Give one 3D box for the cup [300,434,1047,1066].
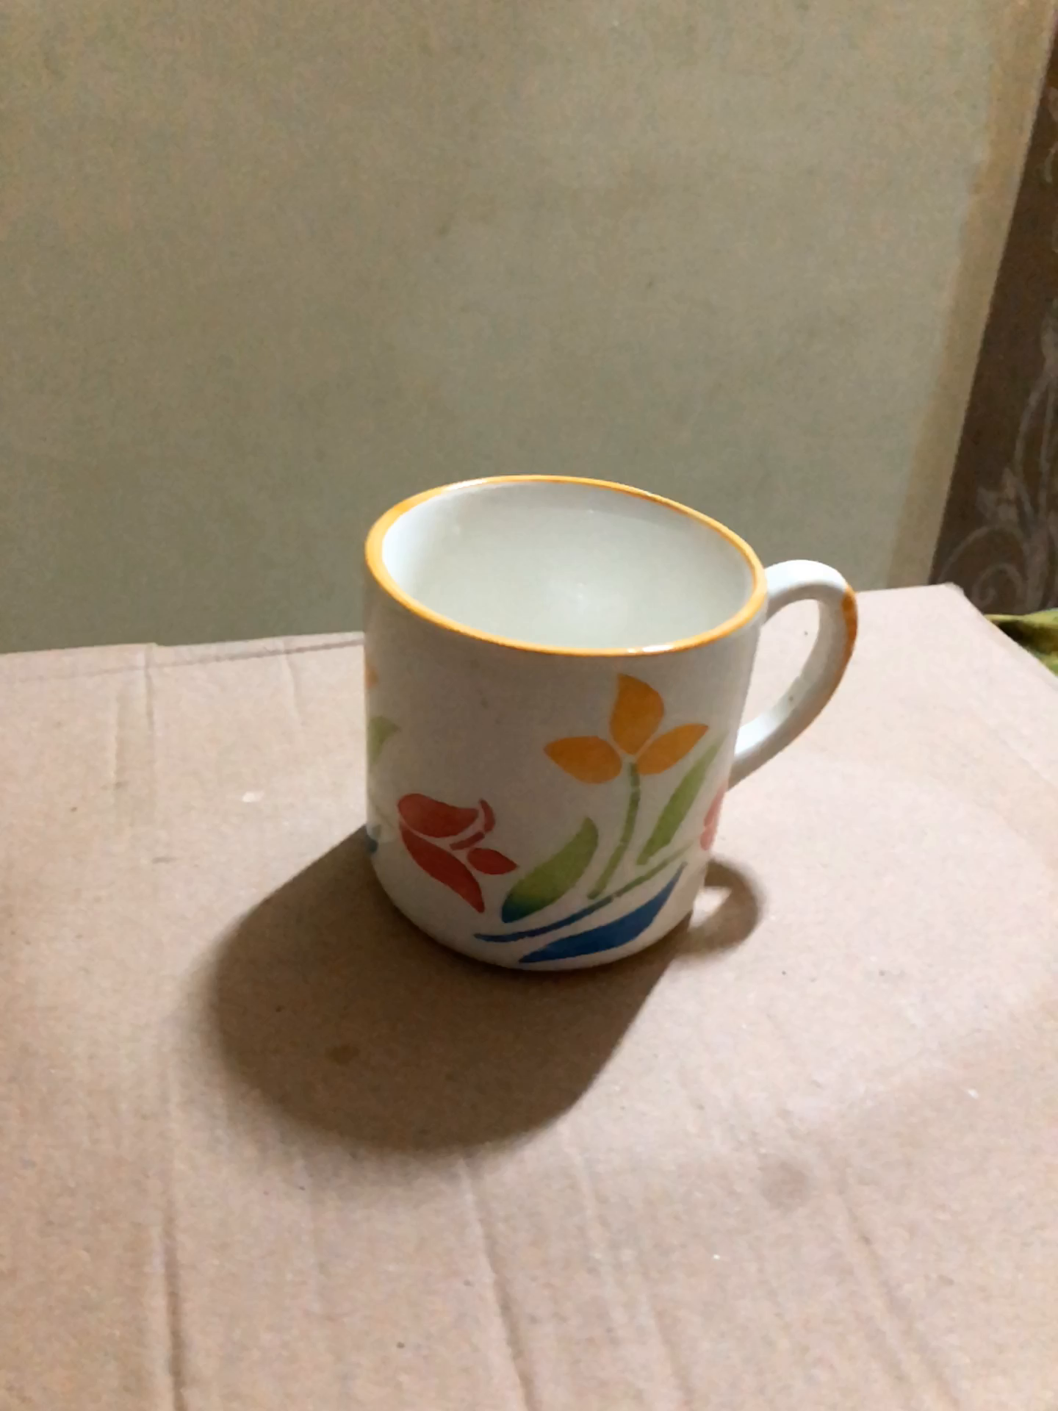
[{"bbox_3d":[0.023,0.000,0.255,0.120,0.079,0.090,-11,34,-21],"label":"cup"}]
